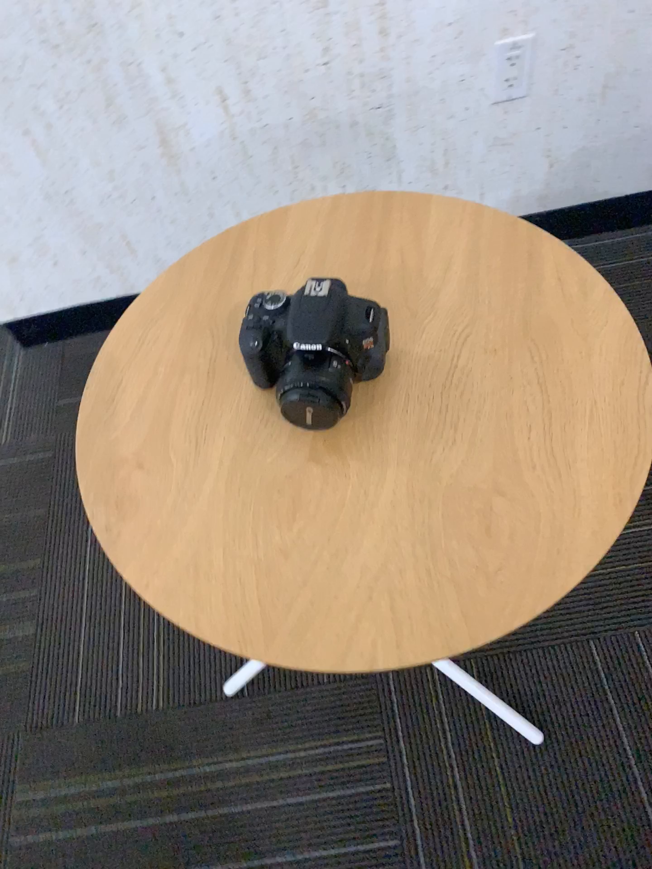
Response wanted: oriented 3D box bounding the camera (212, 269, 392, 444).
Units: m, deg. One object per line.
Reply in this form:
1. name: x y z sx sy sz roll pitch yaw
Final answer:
1. camera: -0.014 -0.071 0.608 0.130 0.100 0.117 4 59 12
